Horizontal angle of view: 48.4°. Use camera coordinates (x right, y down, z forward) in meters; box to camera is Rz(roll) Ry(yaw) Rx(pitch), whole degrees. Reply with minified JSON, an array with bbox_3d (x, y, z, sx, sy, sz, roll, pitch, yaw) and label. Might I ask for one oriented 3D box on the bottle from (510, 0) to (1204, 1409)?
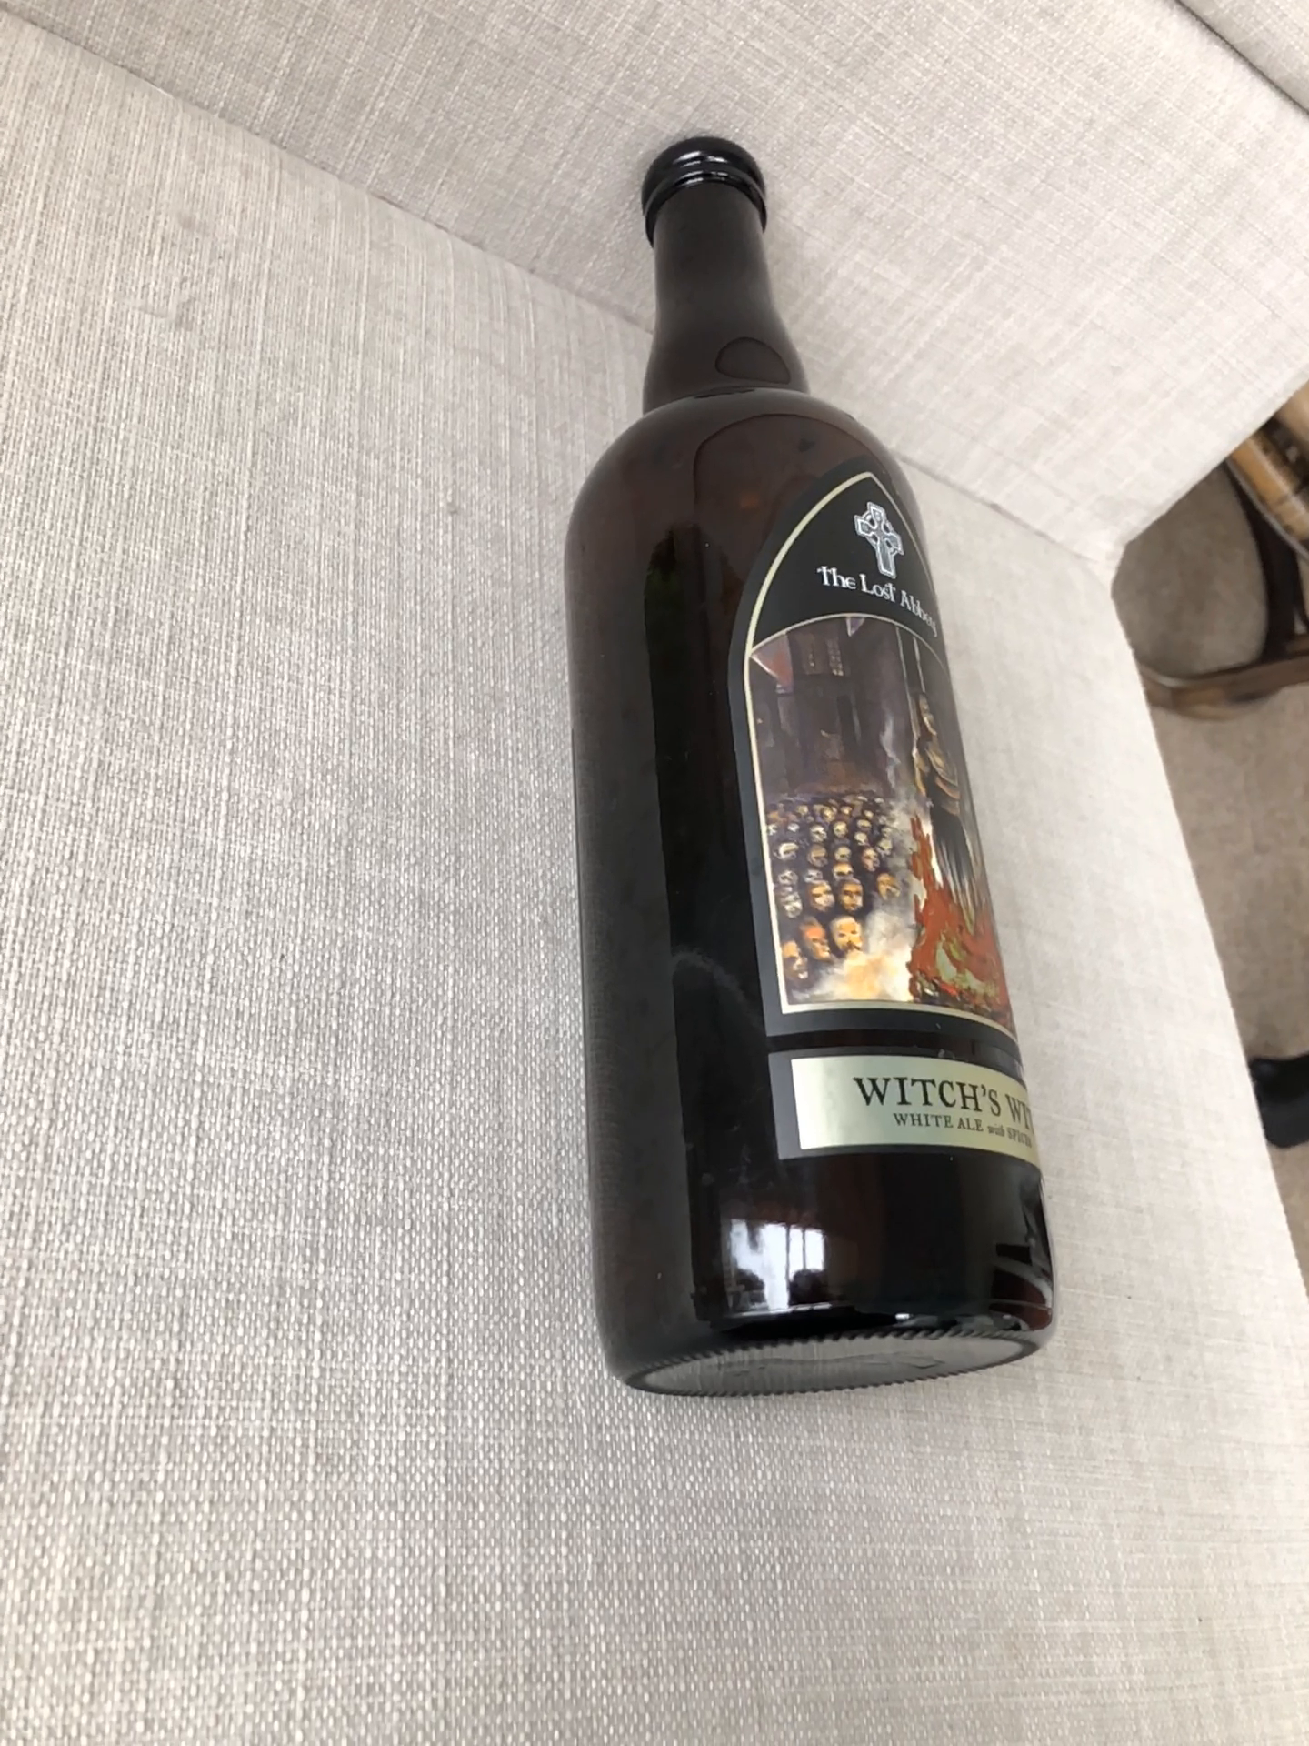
[{"bbox_3d":[0.026,-0.044,0.296,0.080,0.079,0.281,15,60,-34],"label":"bottle"}]
